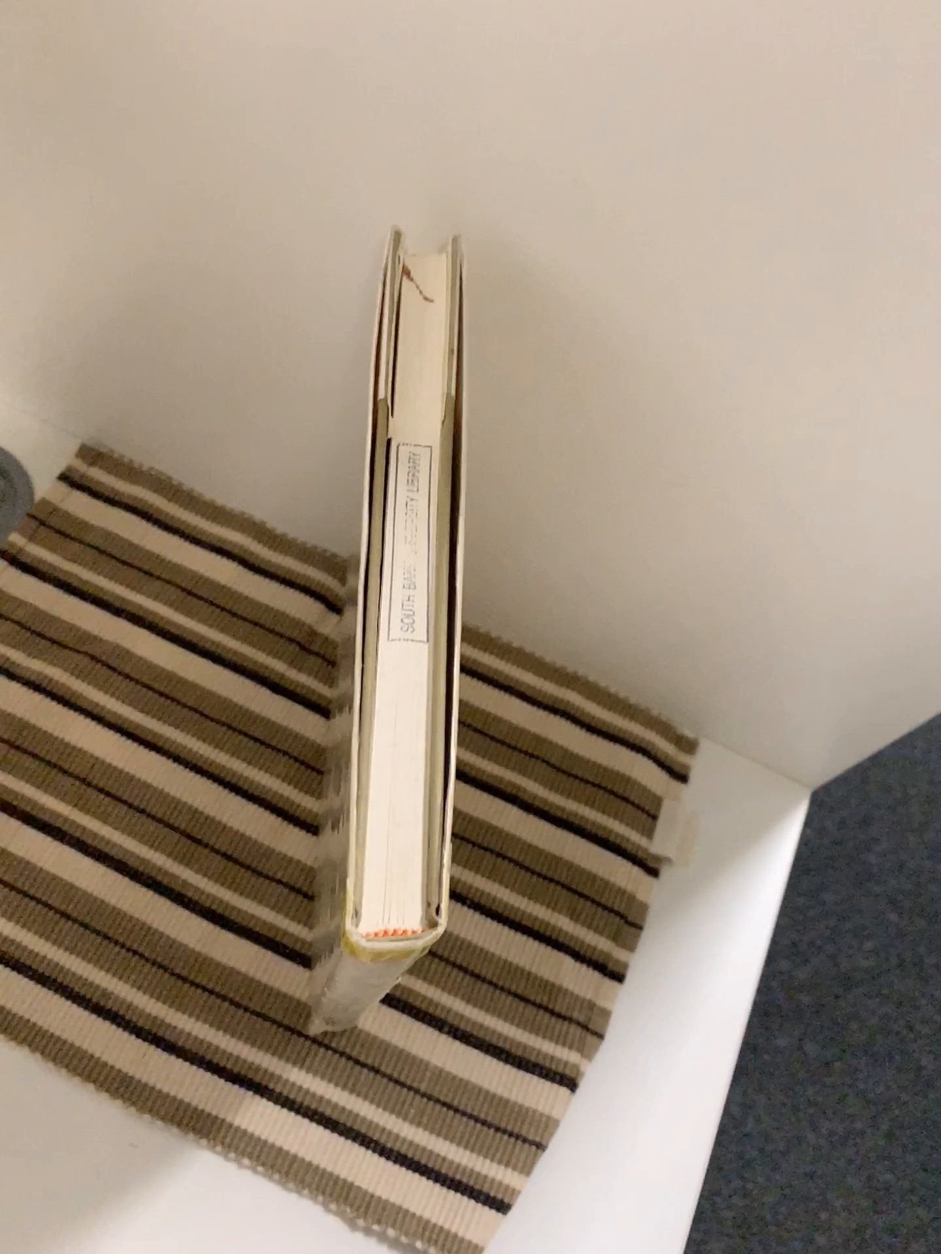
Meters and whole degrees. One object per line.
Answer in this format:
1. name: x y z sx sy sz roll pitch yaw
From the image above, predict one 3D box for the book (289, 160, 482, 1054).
1. book: -0.039 0.026 0.388 0.040 0.289 0.251 4 63 -8
